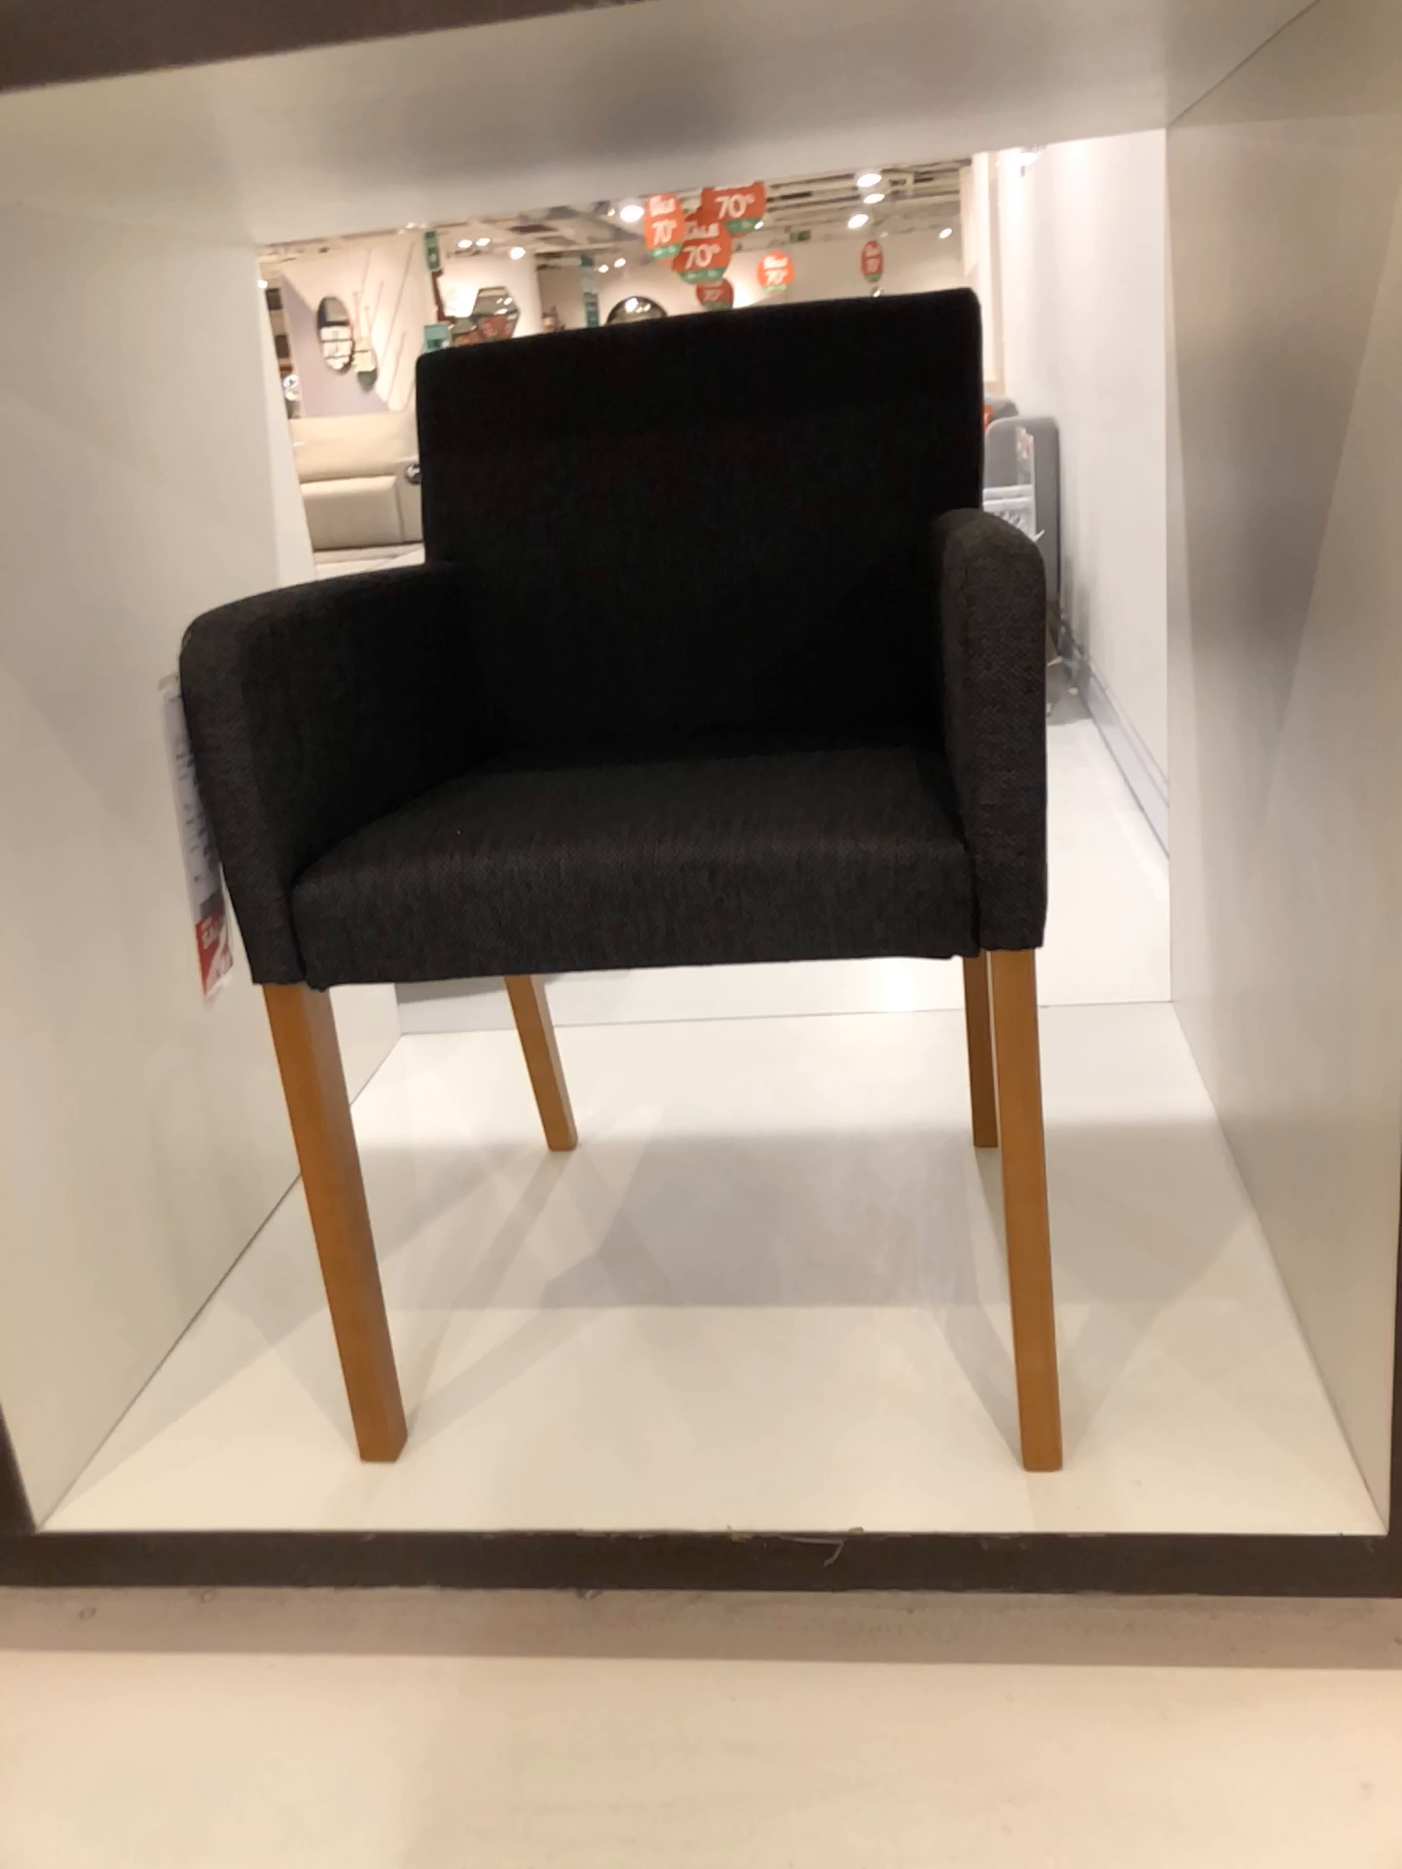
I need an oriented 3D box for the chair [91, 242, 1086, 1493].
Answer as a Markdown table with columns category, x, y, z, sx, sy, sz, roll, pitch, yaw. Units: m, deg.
| category | x | y | z | sx | sy | sz | roll | pitch | yaw |
| --- | --- | --- | --- | --- | --- | --- | --- | --- | --- |
| chair | -0.001 | -0.079 | 1.244 | 0.560 | 0.795 | 0.564 | -2 | 20 | 11 |
